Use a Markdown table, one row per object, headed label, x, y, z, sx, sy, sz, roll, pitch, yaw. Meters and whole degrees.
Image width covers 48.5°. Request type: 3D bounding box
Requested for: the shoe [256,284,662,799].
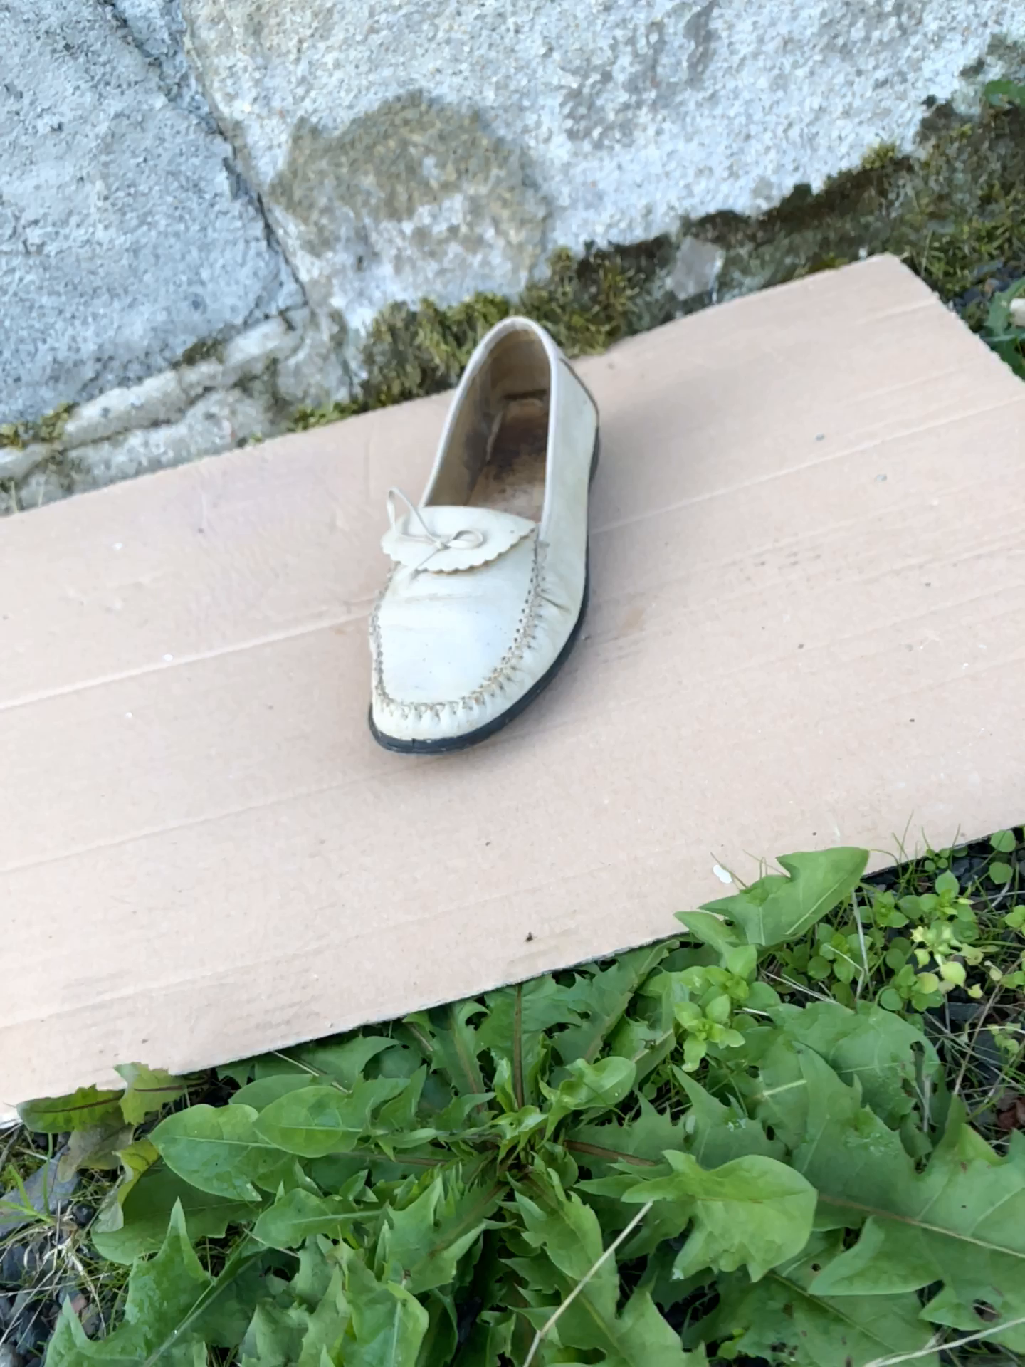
| label | x | y | z | sx | sy | sz | roll | pitch | yaw |
| --- | --- | --- | --- | --- | --- | --- | --- | --- | --- |
| shoe | -0.008 | -0.075 | 0.527 | 0.100 | 0.080 | 0.261 | -5 | 44 | 24 |
